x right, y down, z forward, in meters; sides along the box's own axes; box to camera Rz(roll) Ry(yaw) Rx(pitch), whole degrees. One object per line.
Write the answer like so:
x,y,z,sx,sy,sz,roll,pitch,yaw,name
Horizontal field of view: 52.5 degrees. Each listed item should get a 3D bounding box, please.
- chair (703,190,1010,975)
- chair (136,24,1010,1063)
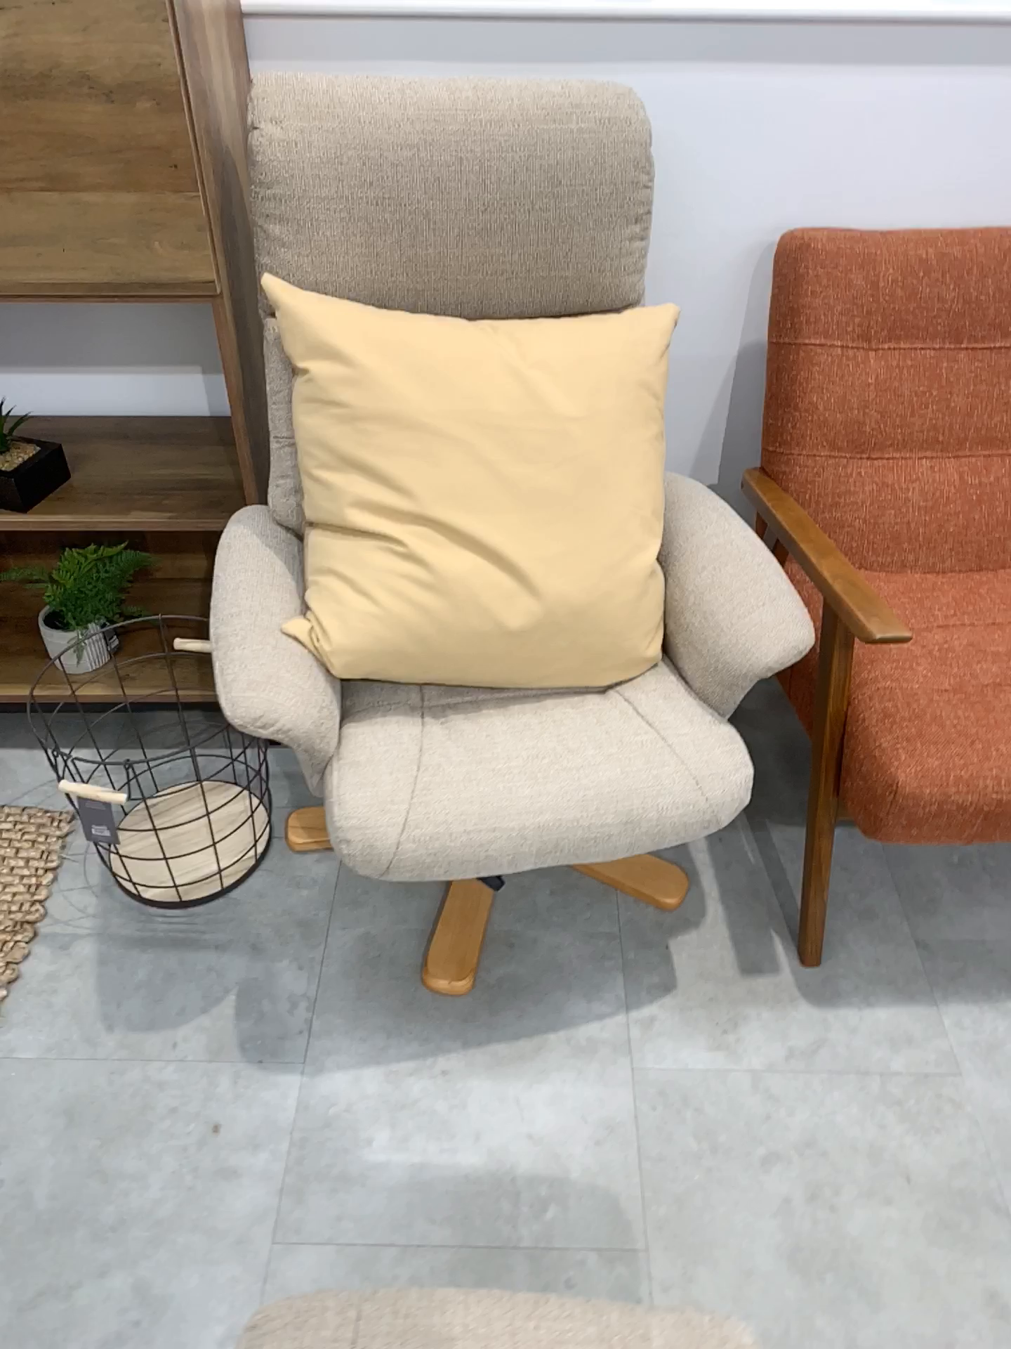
0.672,-0.143,1.478,0.550,0.919,0.623,-2,33,-3,chair
0.007,-0.143,1.323,0.760,1.047,0.664,-3,40,-13,chair
